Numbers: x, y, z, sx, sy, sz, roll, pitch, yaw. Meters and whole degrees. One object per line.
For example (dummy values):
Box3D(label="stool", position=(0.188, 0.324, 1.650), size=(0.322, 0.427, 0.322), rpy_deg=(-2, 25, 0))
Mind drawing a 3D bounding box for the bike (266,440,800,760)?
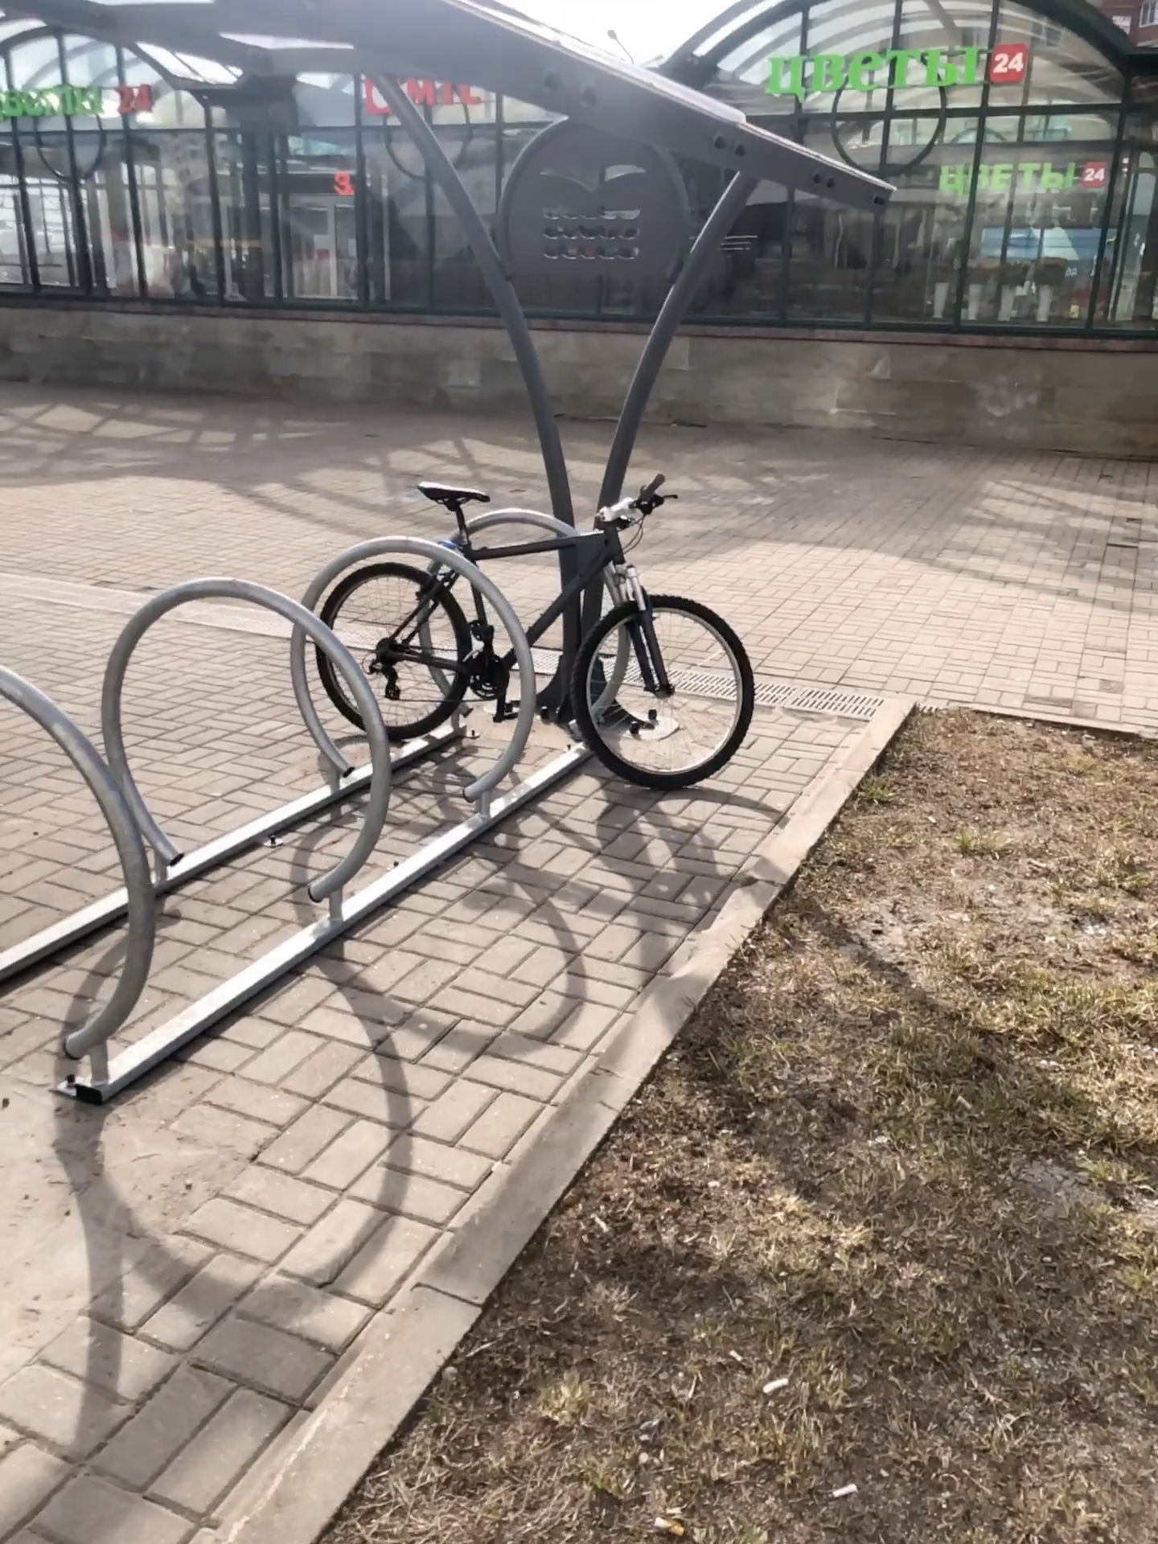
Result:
Box3D(label="bike", position=(-0.151, -0.643, 4.479), size=(1.610, 0.980, 0.564), rpy_deg=(5, 20, 13))
